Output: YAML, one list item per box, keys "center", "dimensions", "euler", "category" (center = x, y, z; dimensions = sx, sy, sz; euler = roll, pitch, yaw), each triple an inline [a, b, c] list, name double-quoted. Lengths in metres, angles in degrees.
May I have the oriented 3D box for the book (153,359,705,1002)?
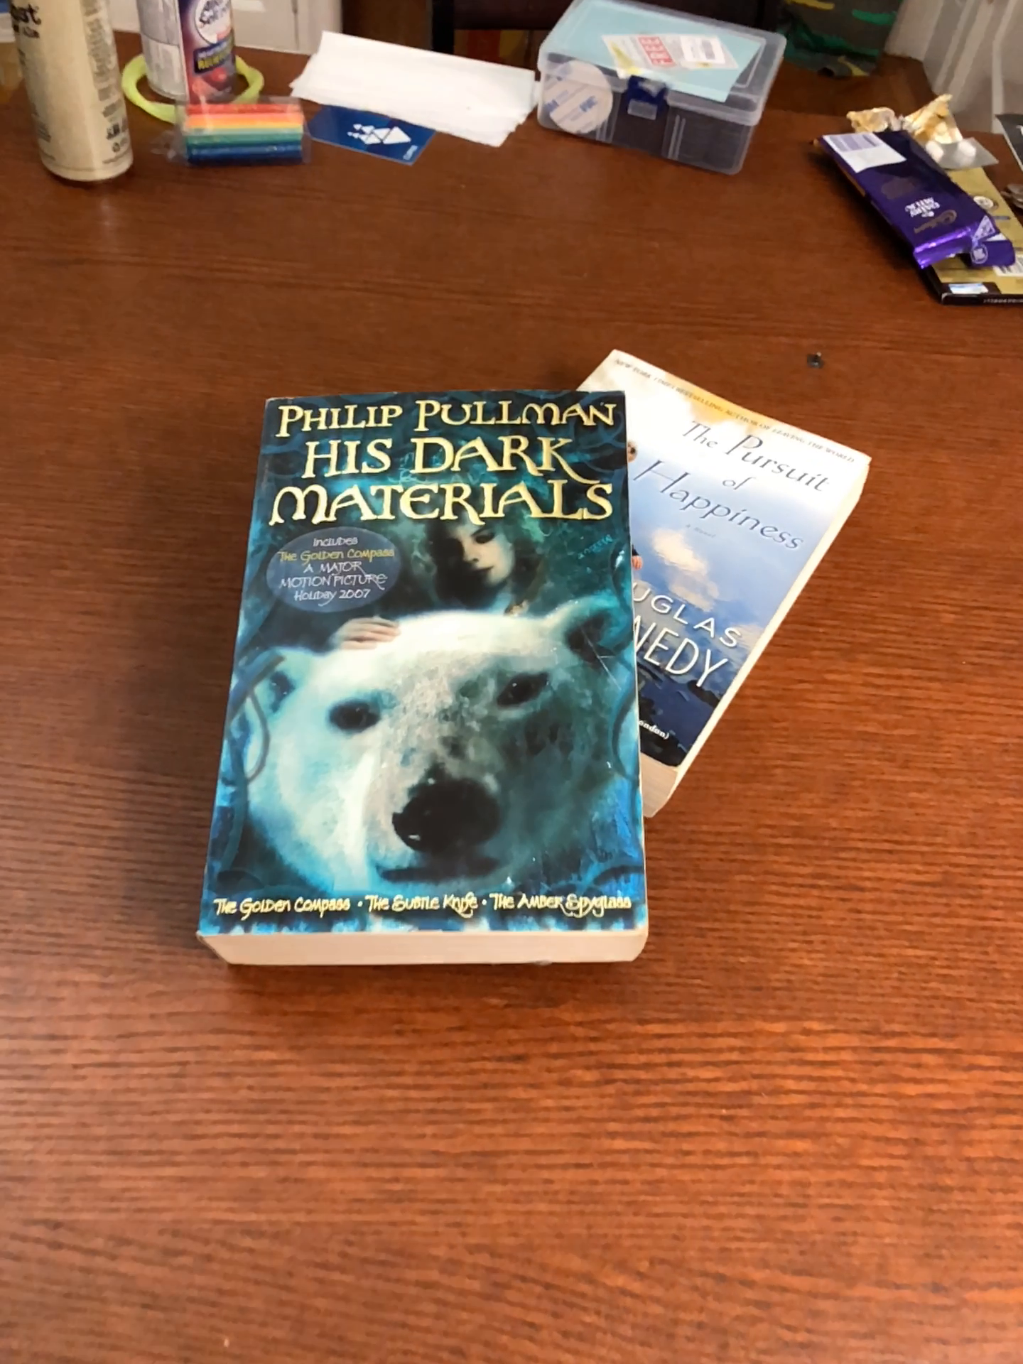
- center: [-0.027, -0.008, 0.427]
  dimensions: [0.170, 0.060, 0.241]
  euler: [0, 64, -1]
  category: "book"

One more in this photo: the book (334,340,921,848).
- center: [0.062, -0.060, 0.534]
  dimensions: [0.170, 0.040, 0.241]
  euler: [28, 56, 22]
  category: "book"
